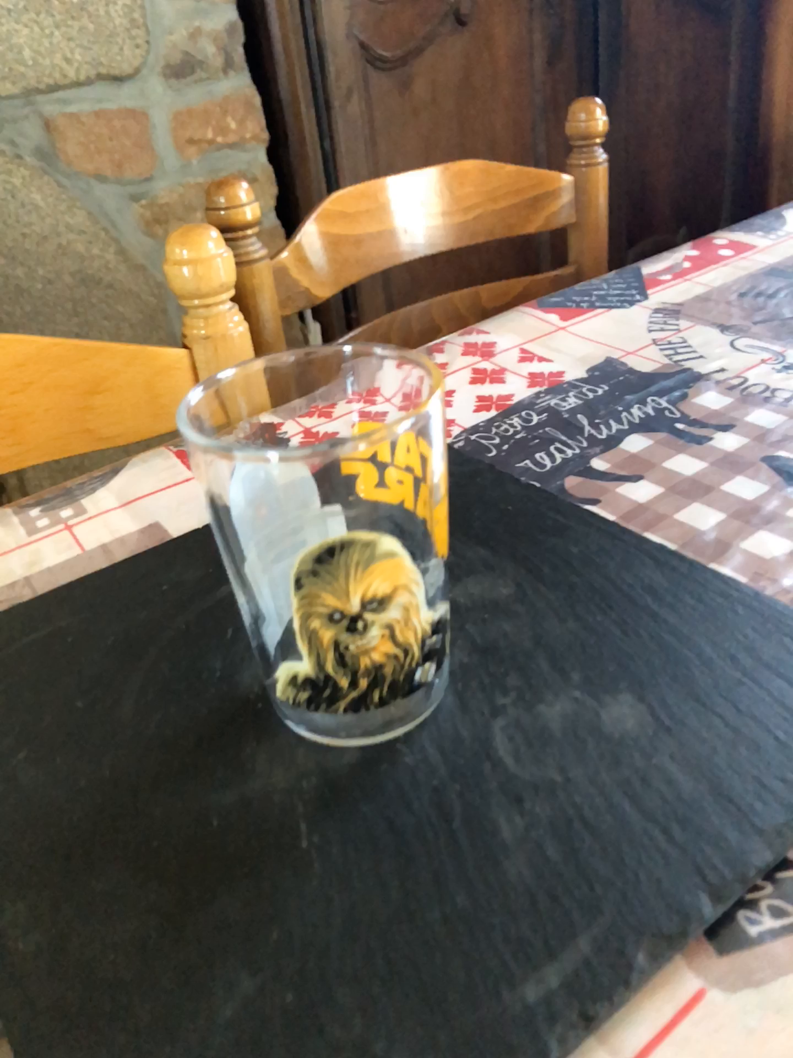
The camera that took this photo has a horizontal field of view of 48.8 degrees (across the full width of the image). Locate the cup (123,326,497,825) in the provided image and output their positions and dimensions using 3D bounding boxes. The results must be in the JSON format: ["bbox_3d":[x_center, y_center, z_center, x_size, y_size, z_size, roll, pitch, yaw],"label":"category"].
[{"bbox_3d":[-0.018,0.010,0.230,0.070,0.099,0.070,-5,30,3],"label":"cup"}]
